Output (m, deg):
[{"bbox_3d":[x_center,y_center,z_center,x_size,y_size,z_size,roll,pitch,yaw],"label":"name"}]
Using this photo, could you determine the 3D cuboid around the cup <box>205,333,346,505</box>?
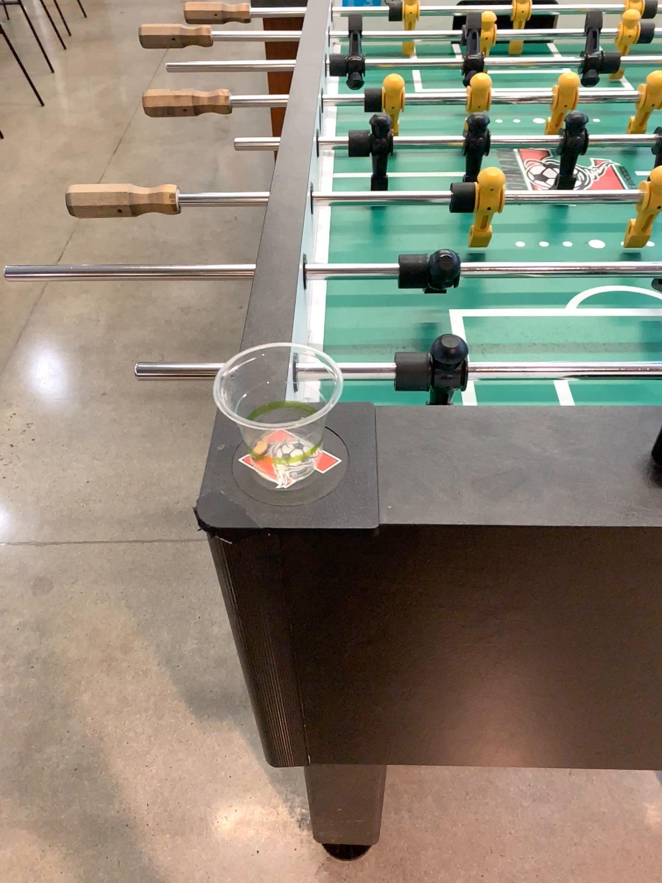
[{"bbox_3d":[-0.032,-0.014,0.396,0.070,0.060,0.070,-1,46,1],"label":"cup"}]
